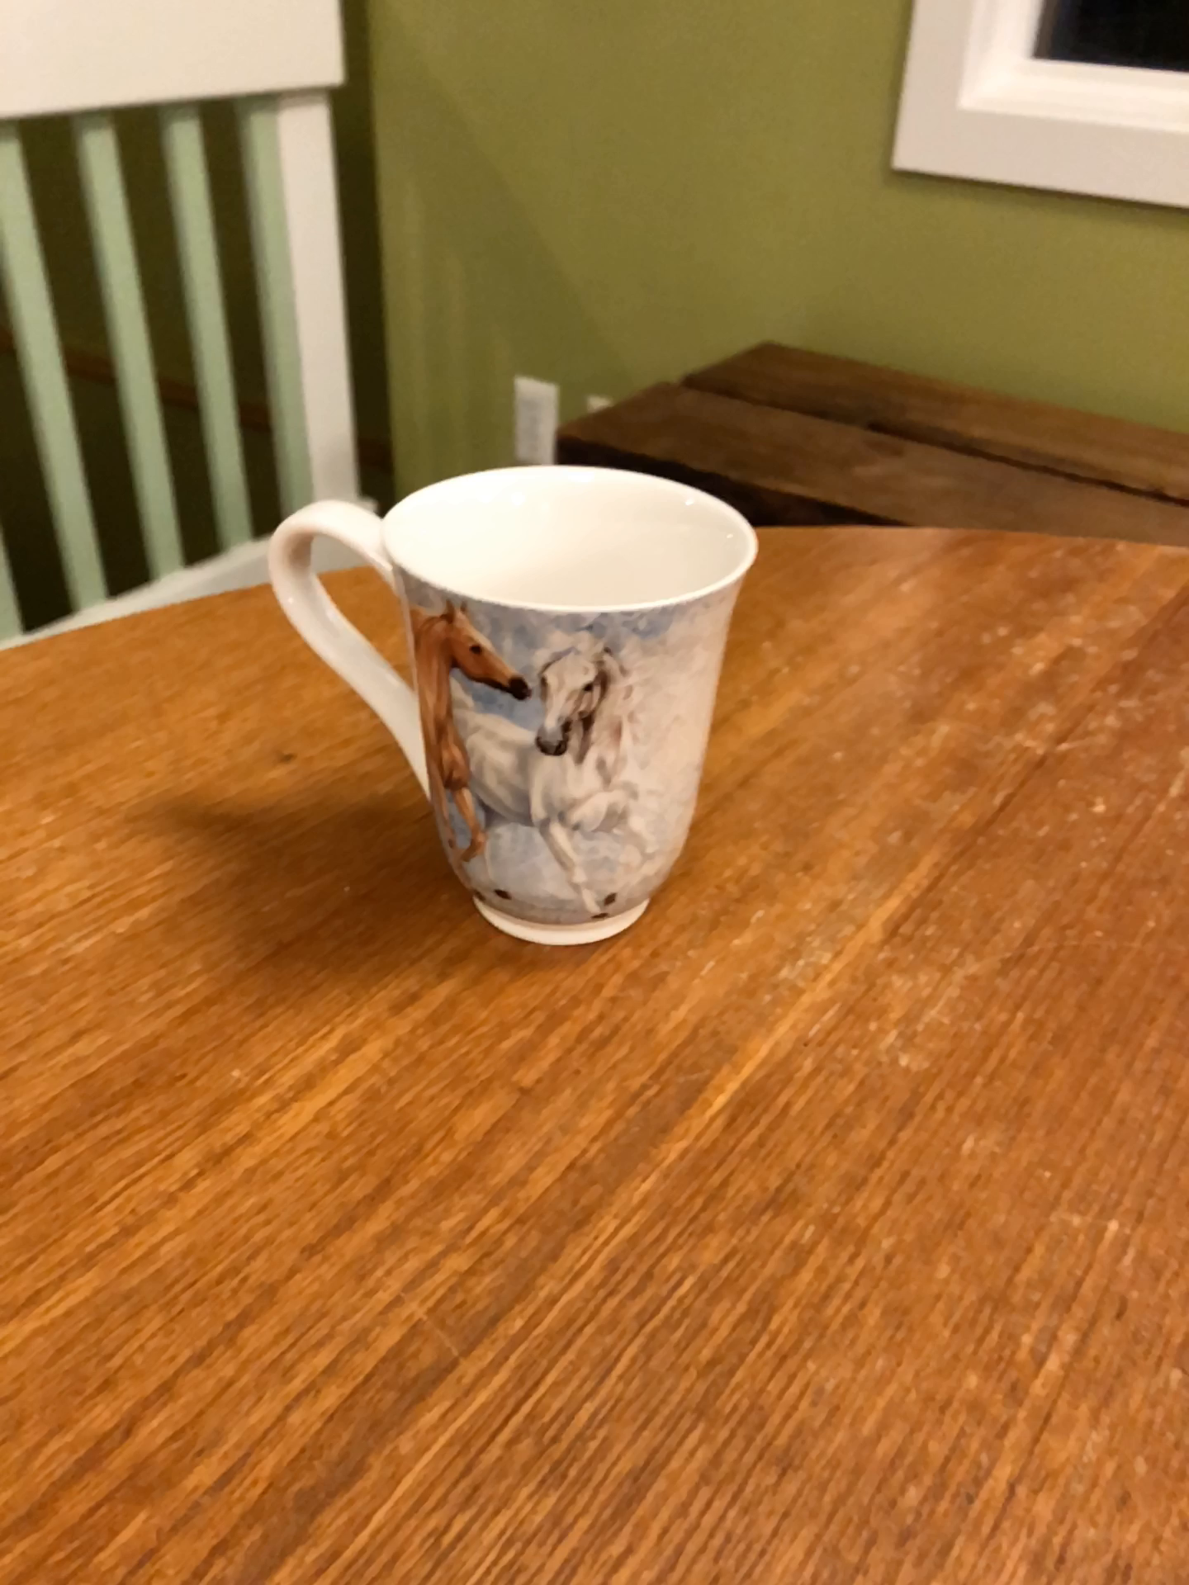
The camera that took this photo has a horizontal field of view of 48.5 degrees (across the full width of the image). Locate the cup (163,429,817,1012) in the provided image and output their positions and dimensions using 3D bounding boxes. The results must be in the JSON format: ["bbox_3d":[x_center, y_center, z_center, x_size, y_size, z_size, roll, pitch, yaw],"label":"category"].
[{"bbox_3d":[-0.023,-0.024,0.340,0.133,0.098,0.083,13,35,16],"label":"cup"}]
